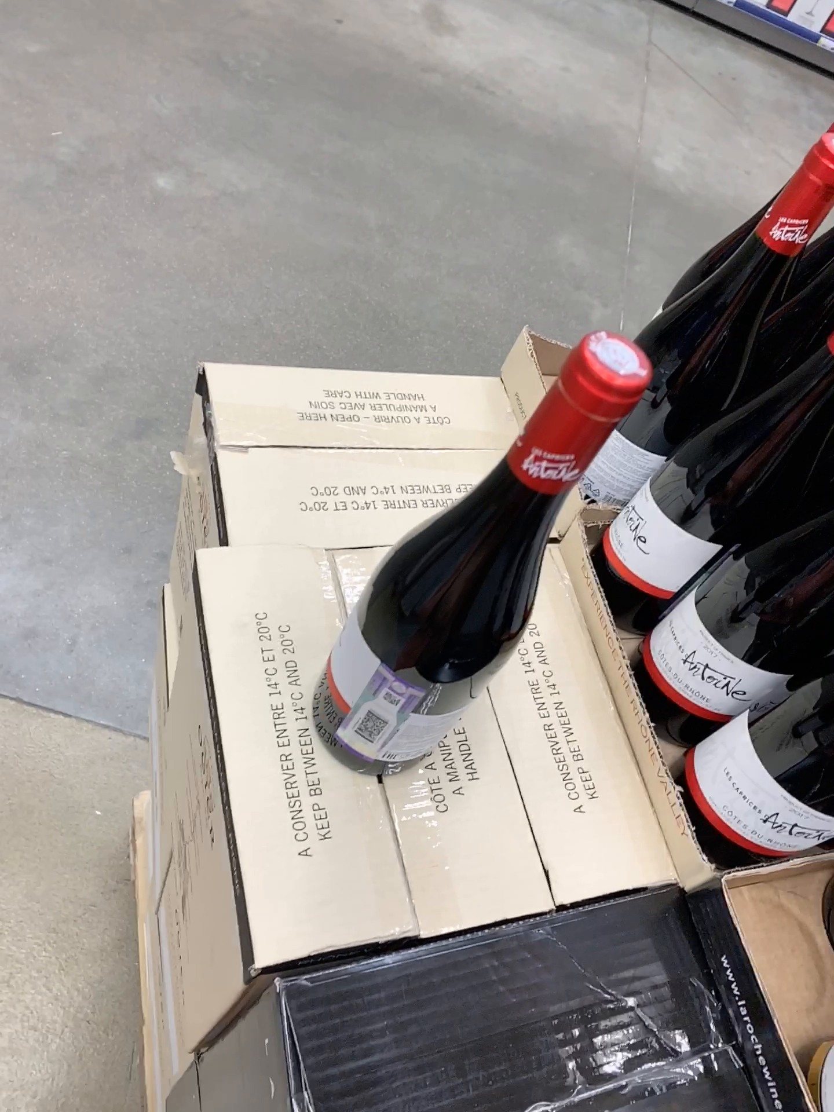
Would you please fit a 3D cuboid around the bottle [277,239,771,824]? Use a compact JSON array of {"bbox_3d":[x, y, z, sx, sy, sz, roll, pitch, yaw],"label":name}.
[{"bbox_3d":[0.022,0.016,0.403,0.090,0.299,0.090,10,53,-14],"label":"bottle"}]
